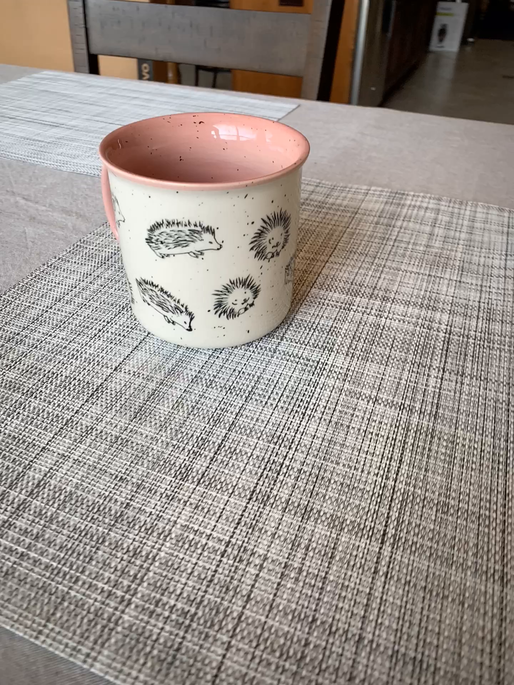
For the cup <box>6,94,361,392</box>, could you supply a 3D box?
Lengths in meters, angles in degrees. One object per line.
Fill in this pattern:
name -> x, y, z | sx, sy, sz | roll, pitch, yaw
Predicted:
cup -> -0.036, -0.071, 0.322 | 0.150, 0.106, 0.121 | 19, 42, 22
